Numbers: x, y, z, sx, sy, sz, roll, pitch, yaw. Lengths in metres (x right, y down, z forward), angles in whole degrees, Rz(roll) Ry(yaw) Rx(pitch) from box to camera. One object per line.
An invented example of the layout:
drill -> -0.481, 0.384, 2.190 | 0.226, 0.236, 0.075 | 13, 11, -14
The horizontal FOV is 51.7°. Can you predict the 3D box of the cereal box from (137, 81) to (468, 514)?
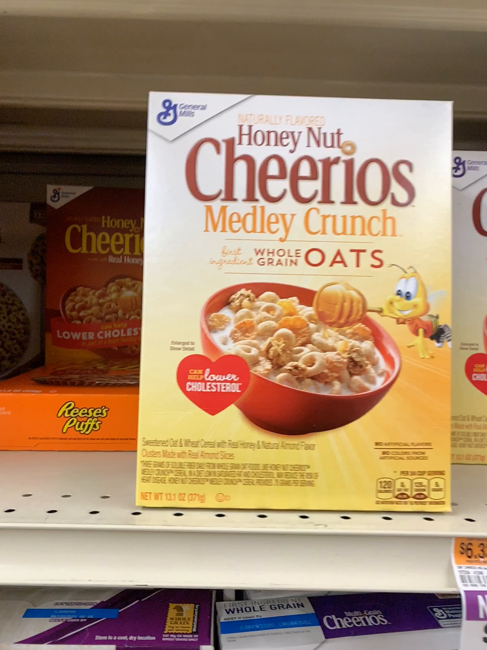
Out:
cereal box -> 0.036, -0.017, 0.324 | 0.190, 0.250, 0.060 | 1, -3, -1
